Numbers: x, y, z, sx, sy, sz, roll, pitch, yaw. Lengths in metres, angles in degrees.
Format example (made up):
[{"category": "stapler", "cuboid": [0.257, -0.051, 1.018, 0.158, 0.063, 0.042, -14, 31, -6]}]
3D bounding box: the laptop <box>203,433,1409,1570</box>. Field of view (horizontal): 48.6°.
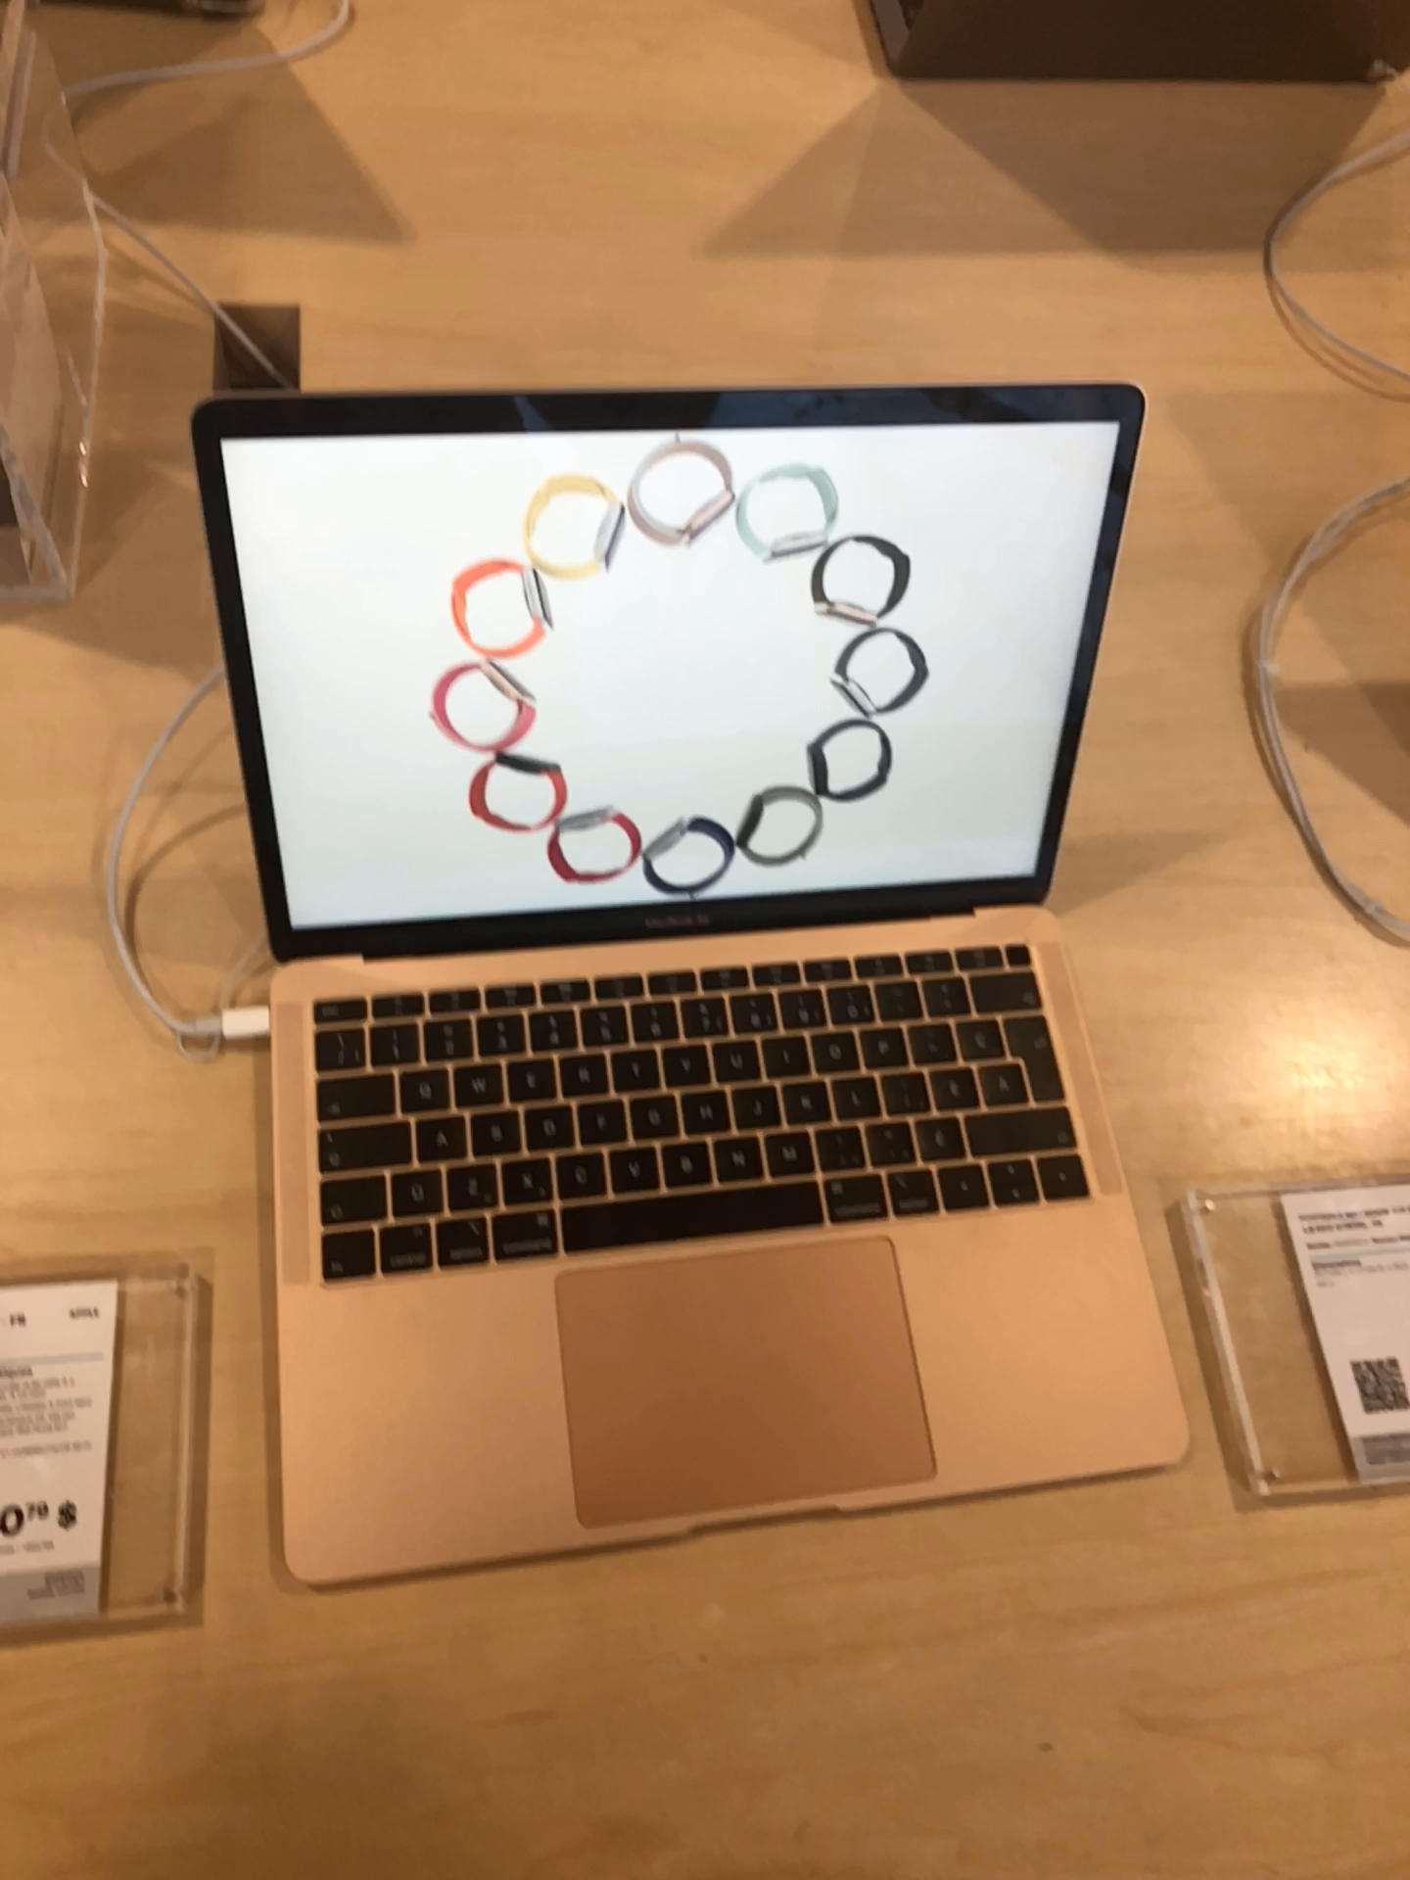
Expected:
[{"category": "laptop", "cuboid": [0.008, 0.014, 0.489, 0.289, 0.168, 0.298, -4, 64, -10]}]
